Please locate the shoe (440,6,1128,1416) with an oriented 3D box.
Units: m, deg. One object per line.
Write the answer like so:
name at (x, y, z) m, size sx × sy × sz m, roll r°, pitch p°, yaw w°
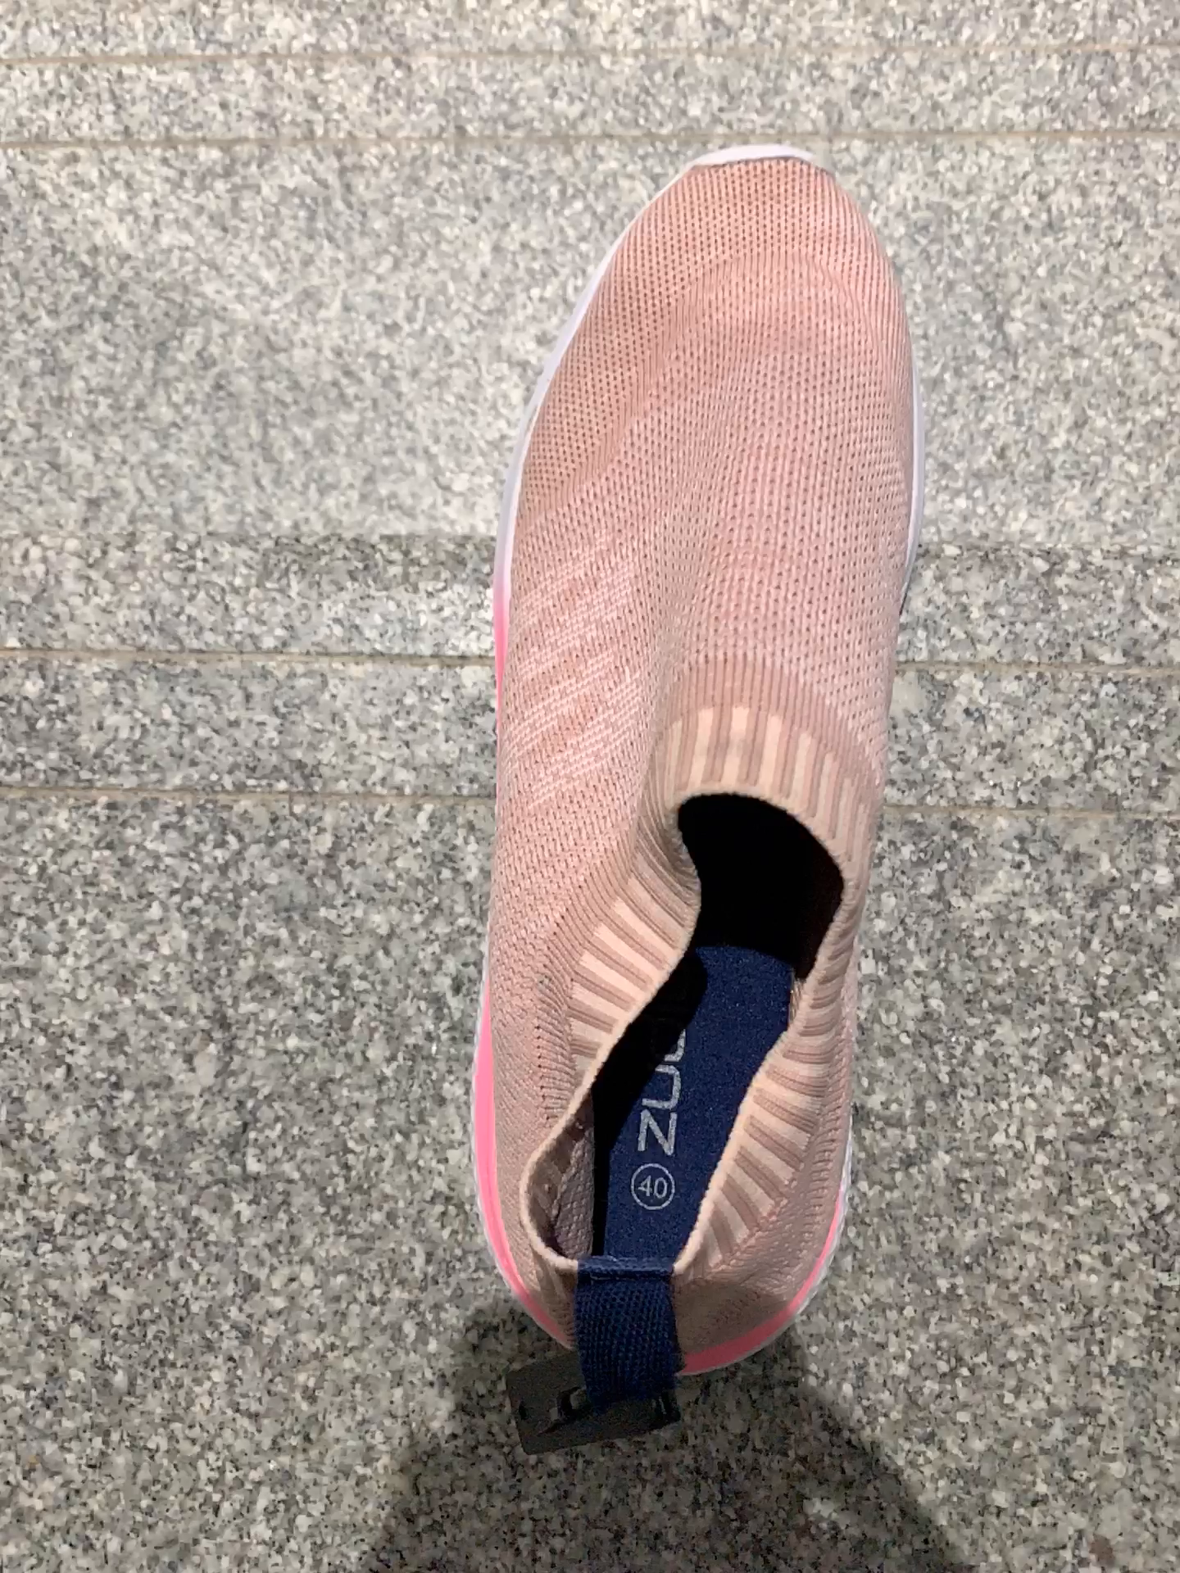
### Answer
shoe at (0.039, -0.018, 0.262) m, size 0.100 × 0.080 × 0.250 m, roll 6°, pitch 85°, yaw 4°
